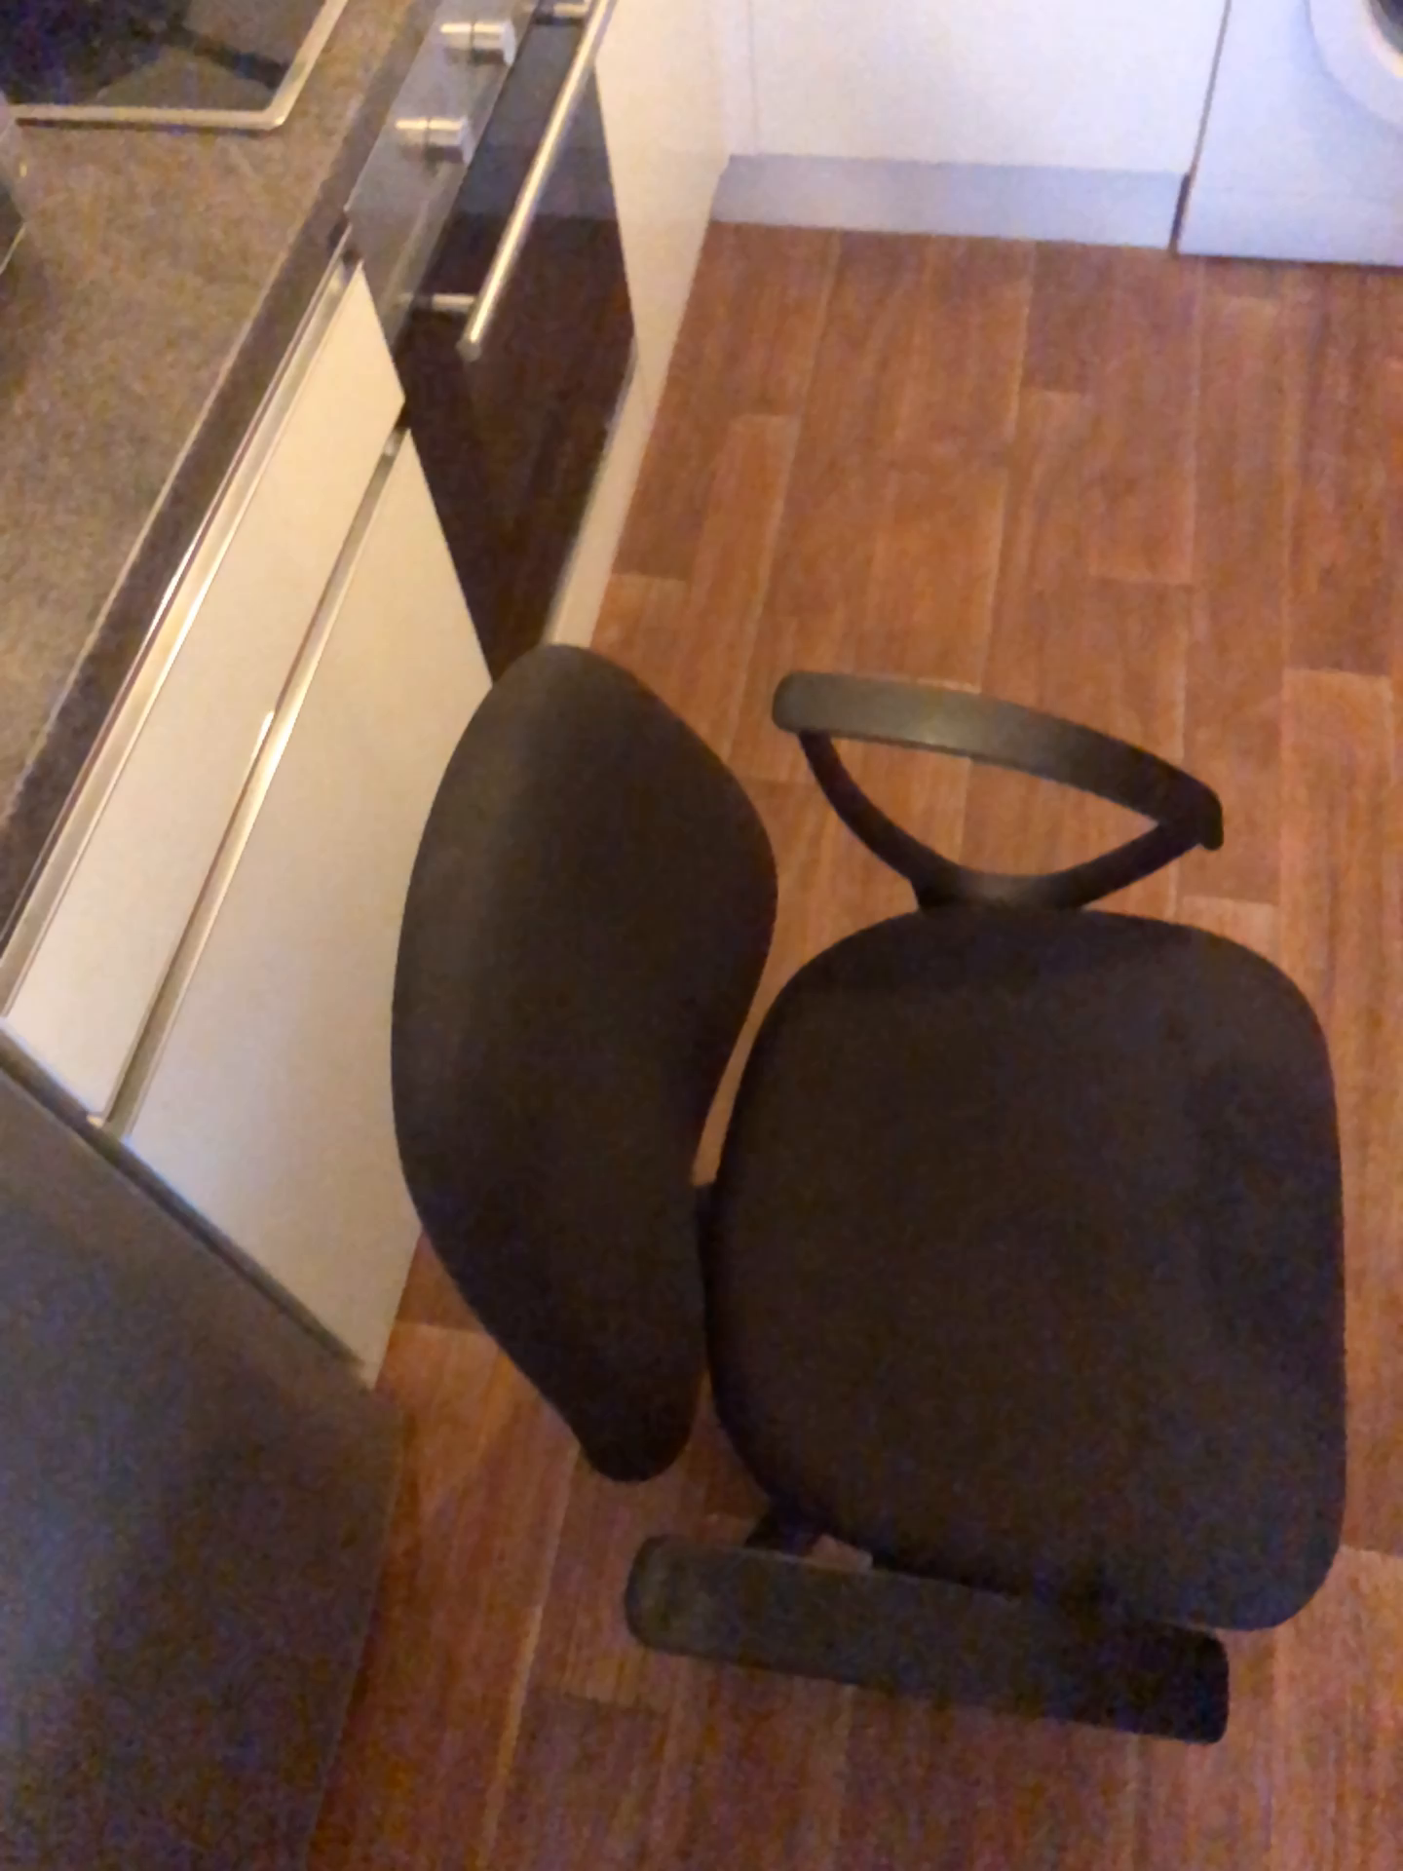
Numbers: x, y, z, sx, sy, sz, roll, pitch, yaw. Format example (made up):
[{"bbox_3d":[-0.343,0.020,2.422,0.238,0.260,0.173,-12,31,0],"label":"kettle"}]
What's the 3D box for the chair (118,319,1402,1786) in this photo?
[{"bbox_3d":[0.180,0.168,1.080,0.642,0.883,0.639,6,61,9],"label":"chair"}]
